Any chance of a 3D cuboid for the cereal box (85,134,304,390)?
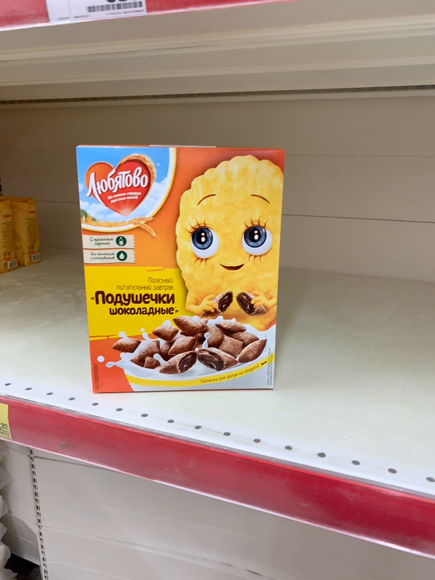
[{"bbox_3d":[-0.020,-0.024,0.423,0.180,0.229,0.050,-1,15,-4],"label":"cereal box"}]
